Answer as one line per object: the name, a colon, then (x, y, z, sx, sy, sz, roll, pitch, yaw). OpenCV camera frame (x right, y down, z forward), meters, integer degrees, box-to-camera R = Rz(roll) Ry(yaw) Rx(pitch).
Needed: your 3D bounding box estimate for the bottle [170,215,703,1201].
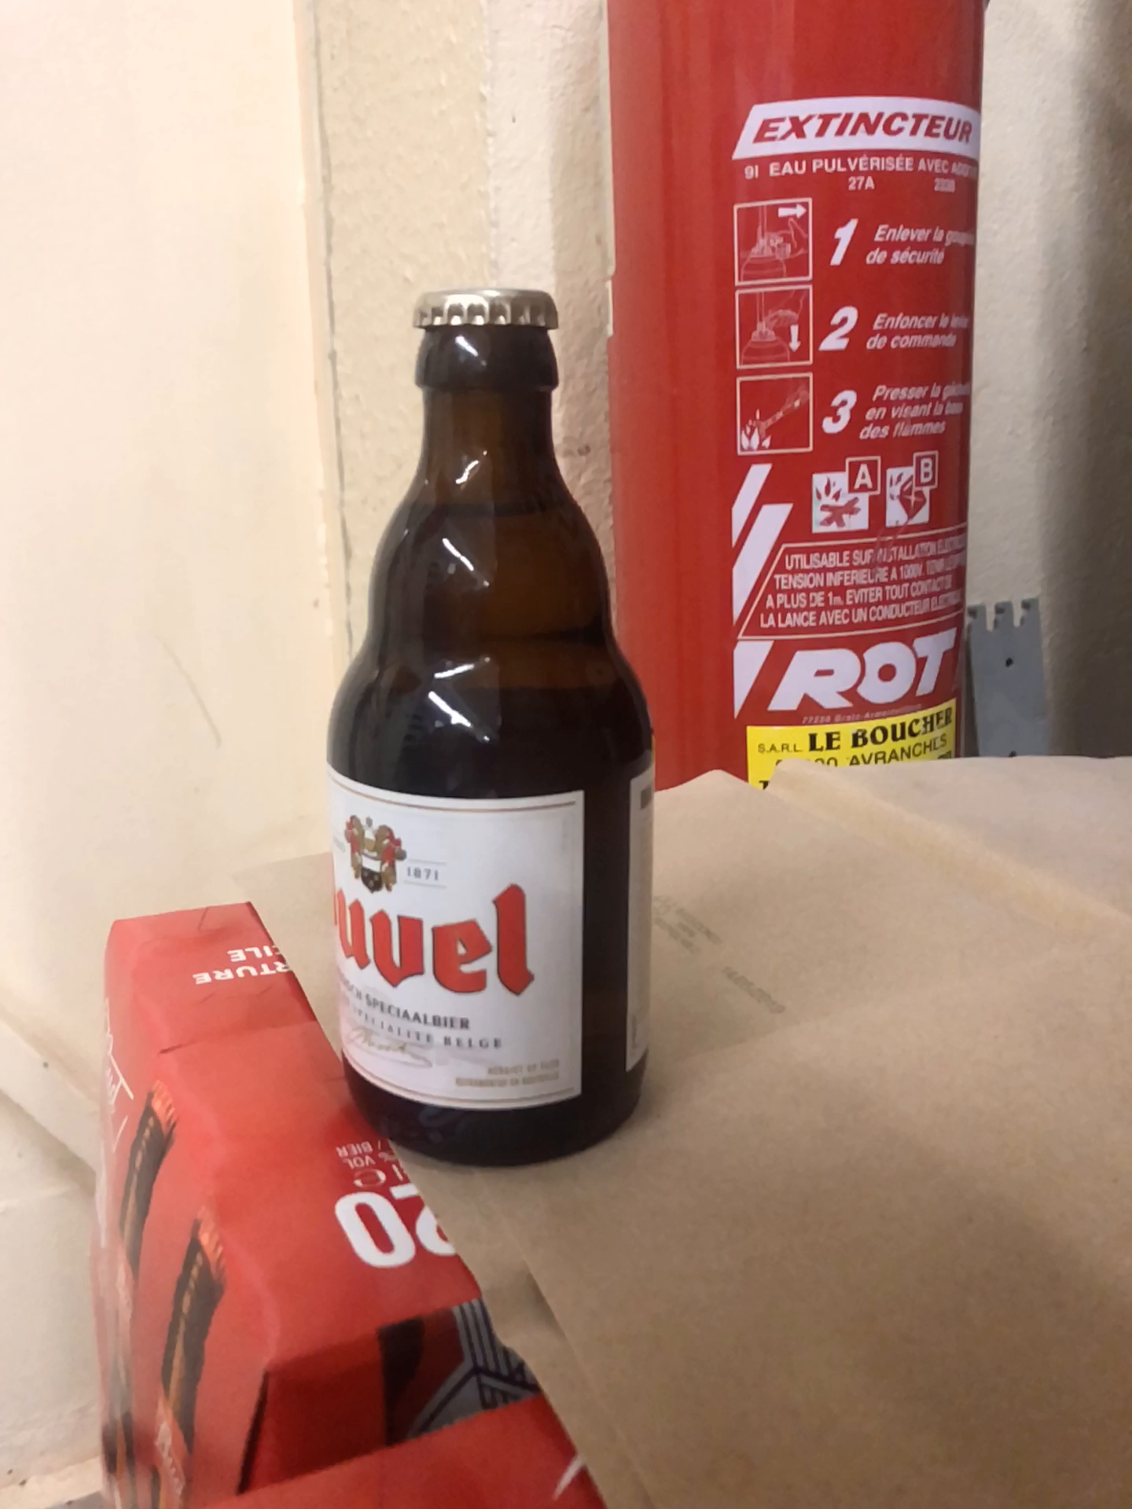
bottle: (-0.025, -0.013, 0.263, 0.070, 0.169, 0.080, -12, 16, -39)
